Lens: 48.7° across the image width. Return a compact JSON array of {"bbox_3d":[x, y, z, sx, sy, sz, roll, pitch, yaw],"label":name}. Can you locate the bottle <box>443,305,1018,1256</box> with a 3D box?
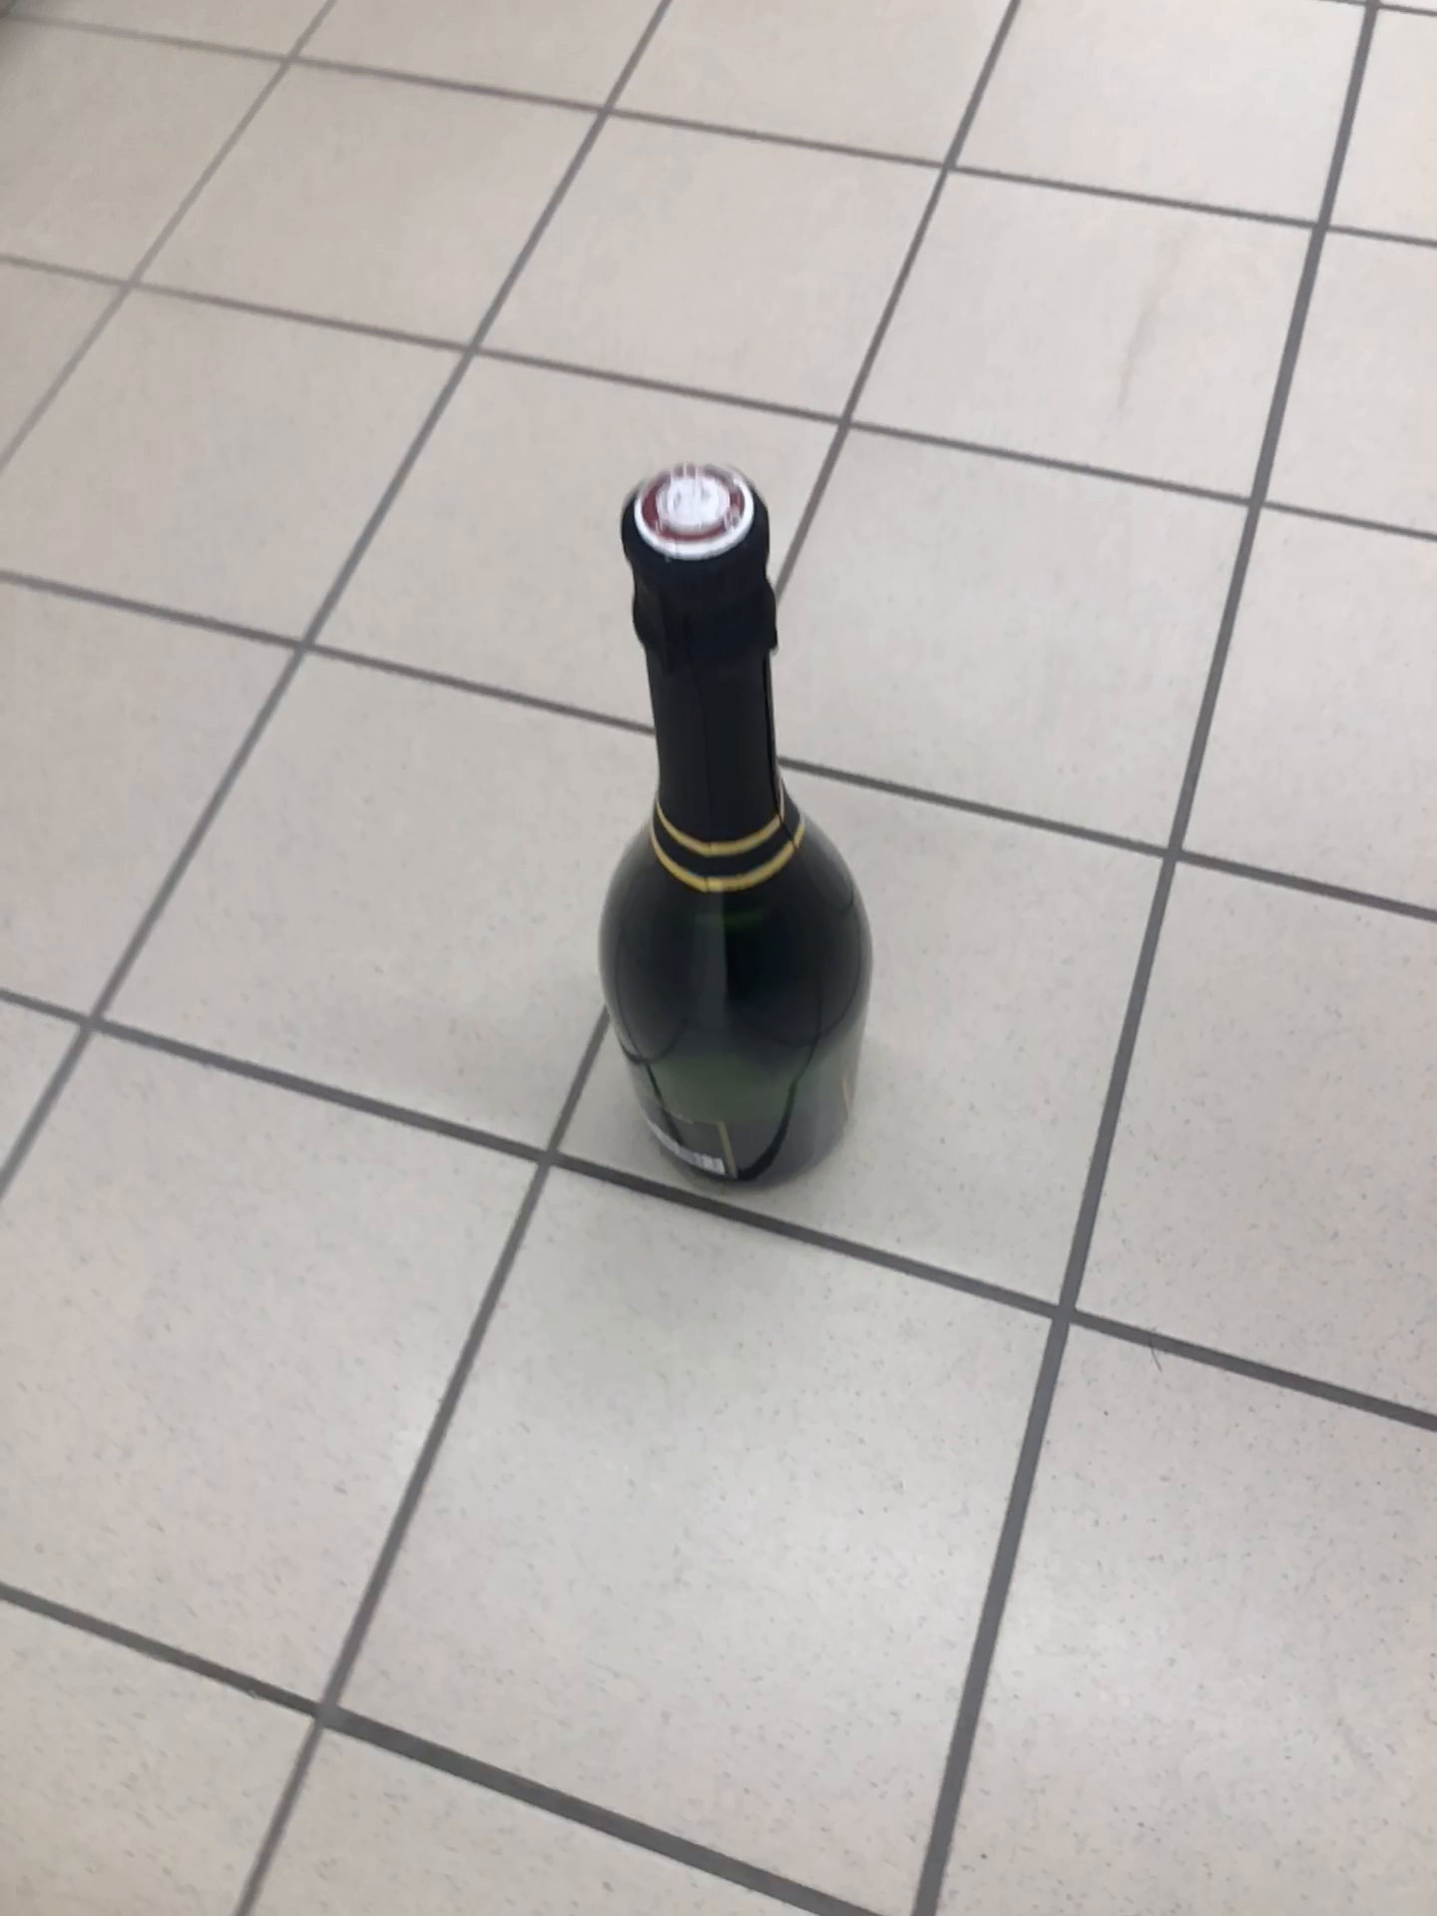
[{"bbox_3d":[0.009,-0.021,0.470,0.090,0.309,0.090,-1,61,3],"label":"bottle"}]
